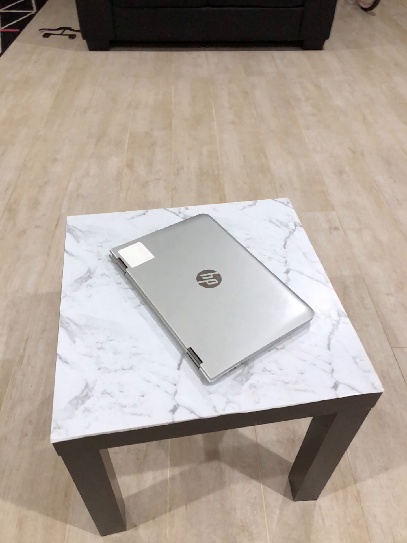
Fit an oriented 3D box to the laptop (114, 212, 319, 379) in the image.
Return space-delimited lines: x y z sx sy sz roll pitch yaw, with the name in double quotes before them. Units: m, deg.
"laptop" 0.011 0.016 0.717 0.197 0.001 0.293 -25 52 -24
